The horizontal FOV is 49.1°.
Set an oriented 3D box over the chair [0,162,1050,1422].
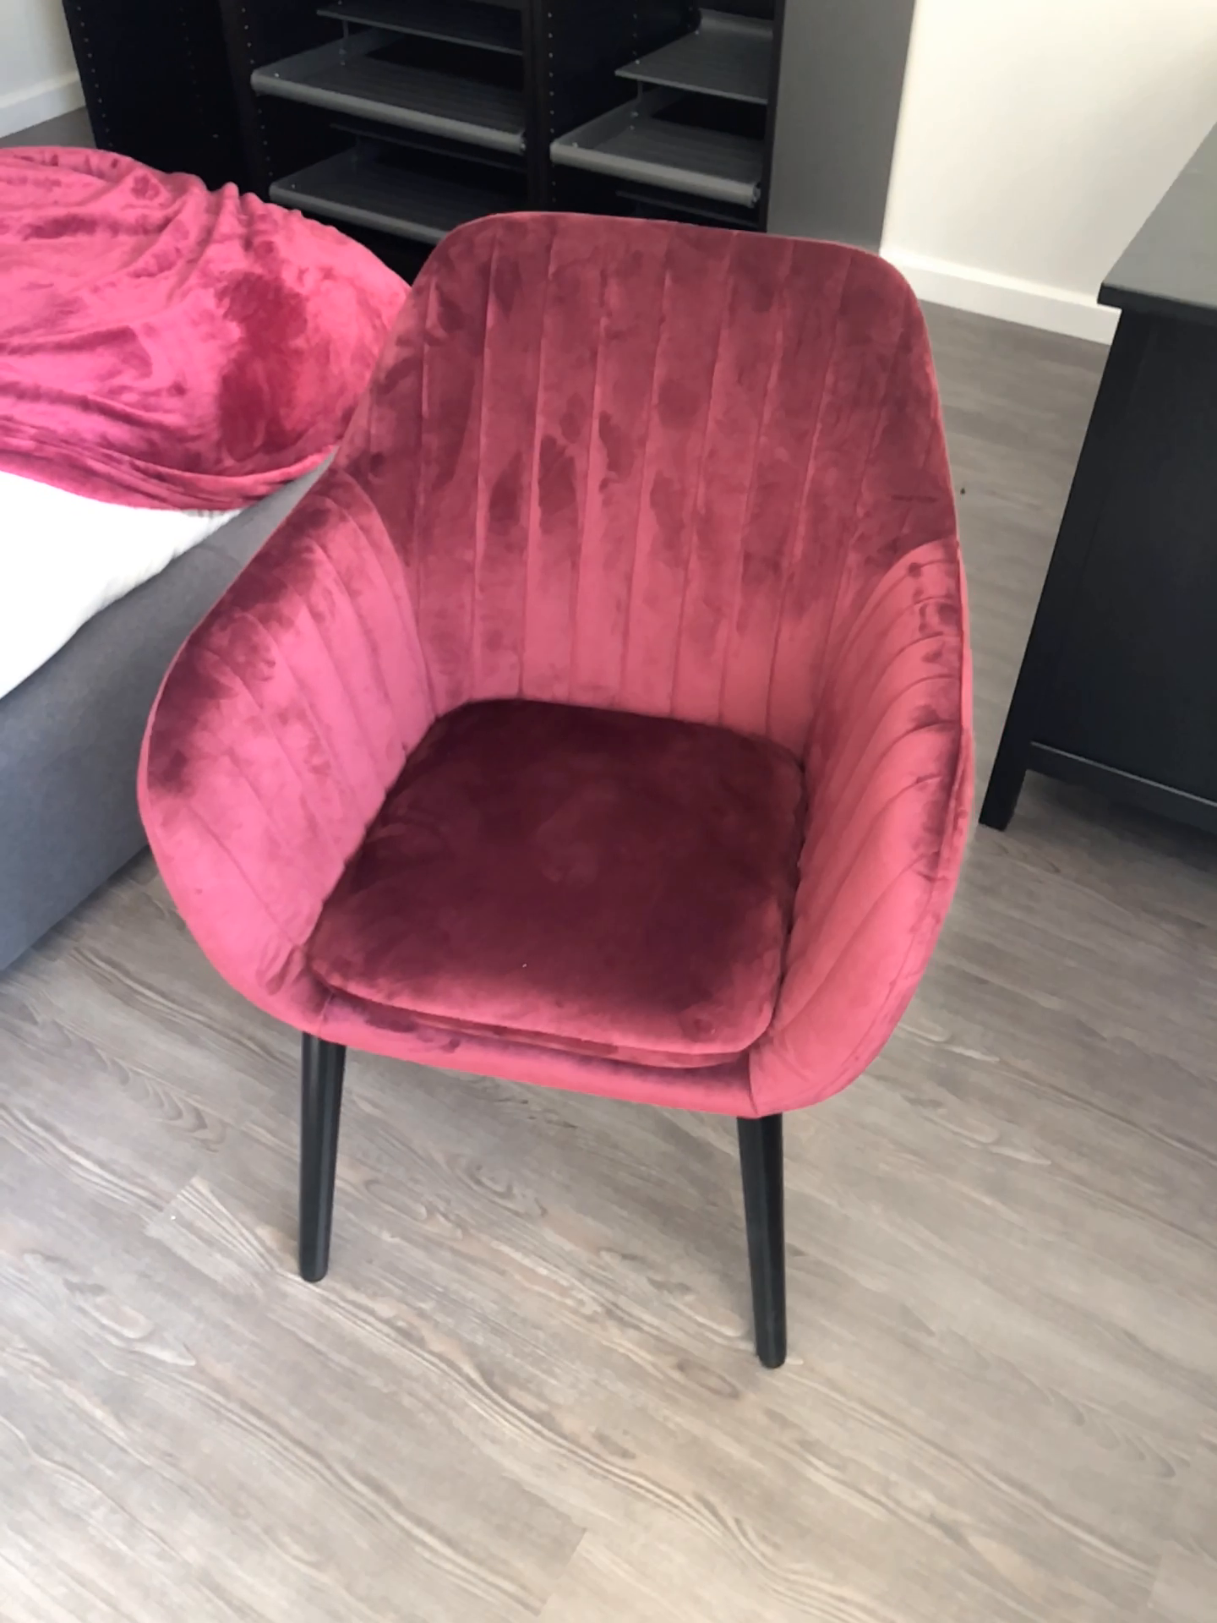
[{"bbox_3d":[-0.006,0.007,1.134,0.540,0.835,0.554,10,45,9],"label":"chair"}]
